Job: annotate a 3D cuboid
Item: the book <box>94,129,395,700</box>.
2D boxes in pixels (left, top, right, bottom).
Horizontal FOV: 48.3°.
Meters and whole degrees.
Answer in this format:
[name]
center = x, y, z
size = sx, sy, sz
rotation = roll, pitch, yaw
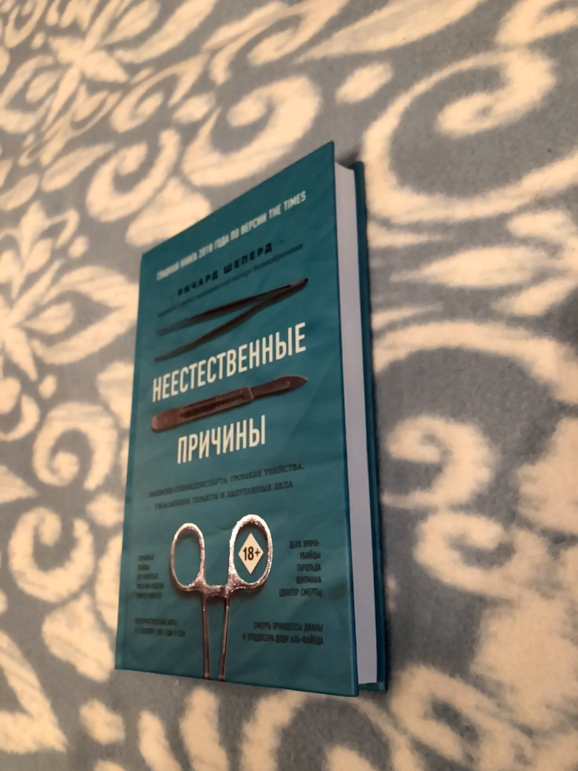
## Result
[book]
center = -0.028, 0.014, 0.295
size = 0.149, 0.025, 0.218
rotation = -16, 67, 40
